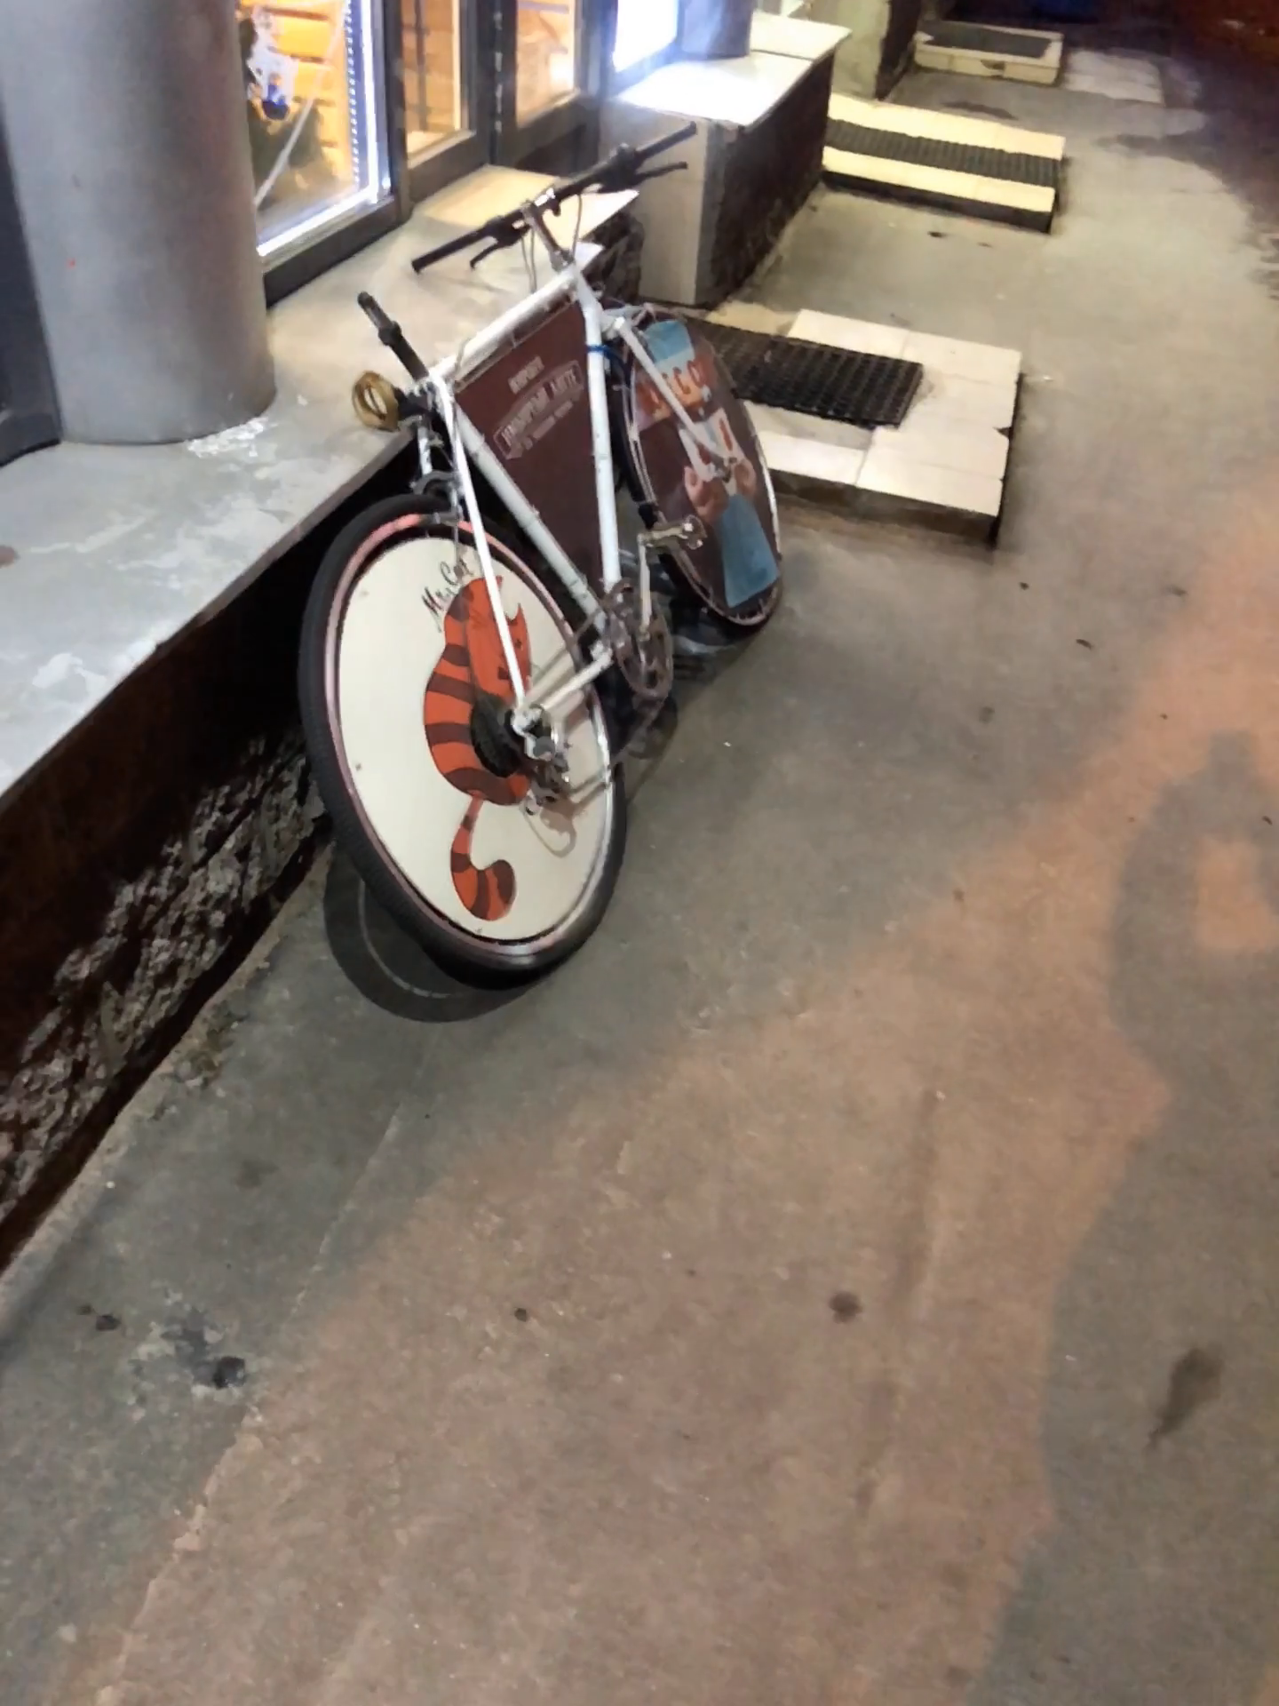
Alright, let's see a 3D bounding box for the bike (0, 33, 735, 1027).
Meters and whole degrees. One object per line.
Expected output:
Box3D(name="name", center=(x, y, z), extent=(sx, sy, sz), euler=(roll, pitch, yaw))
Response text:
Box3D(name="bike", center=(-0.336, -0.673, 2.289), extent=(0.569, 0.917, 1.594), euler=(13, 39, 11))
